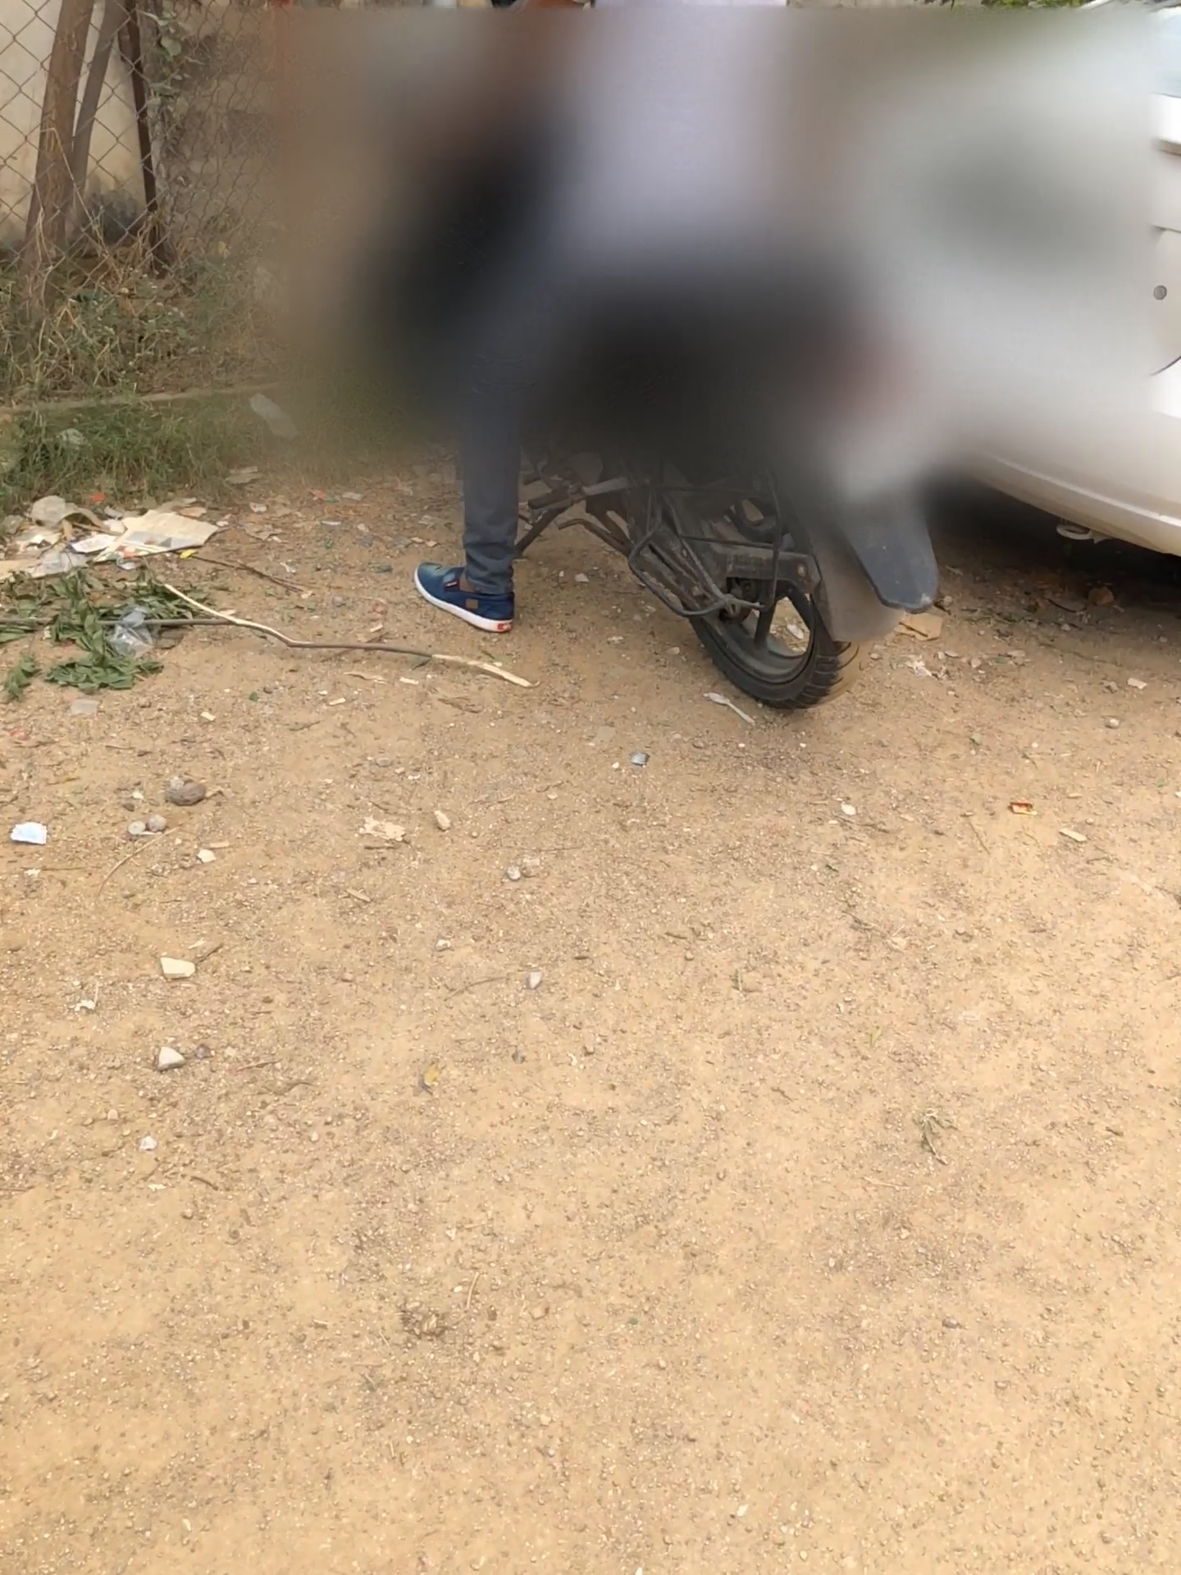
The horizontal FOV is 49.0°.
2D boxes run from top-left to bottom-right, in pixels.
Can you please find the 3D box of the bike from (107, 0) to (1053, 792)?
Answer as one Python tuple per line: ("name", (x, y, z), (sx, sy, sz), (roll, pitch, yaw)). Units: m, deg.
("bike", (-0.169, -0.986, 2.270), (0.529, 1.094, 1.621), (-21, 46, -36))
